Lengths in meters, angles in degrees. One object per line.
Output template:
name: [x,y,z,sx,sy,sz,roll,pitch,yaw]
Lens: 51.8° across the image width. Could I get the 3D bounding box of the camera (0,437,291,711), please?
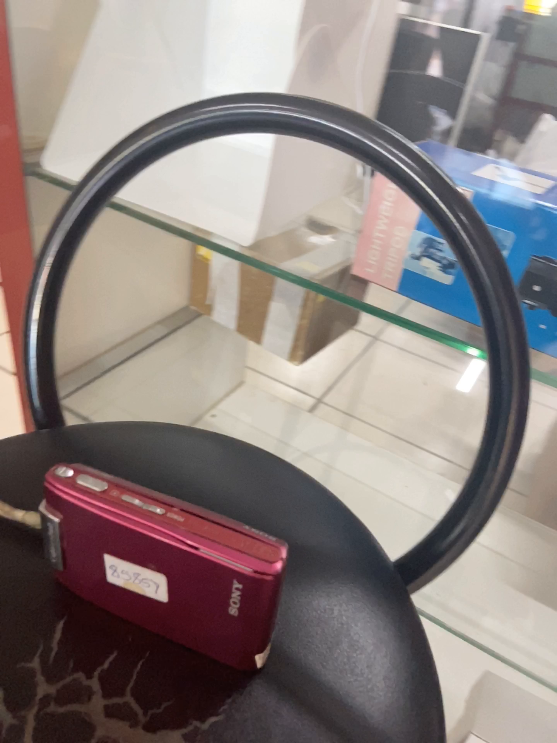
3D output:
camera: [-0.052,0.071,0.206,0.100,0.060,0.030,18,35,12]
